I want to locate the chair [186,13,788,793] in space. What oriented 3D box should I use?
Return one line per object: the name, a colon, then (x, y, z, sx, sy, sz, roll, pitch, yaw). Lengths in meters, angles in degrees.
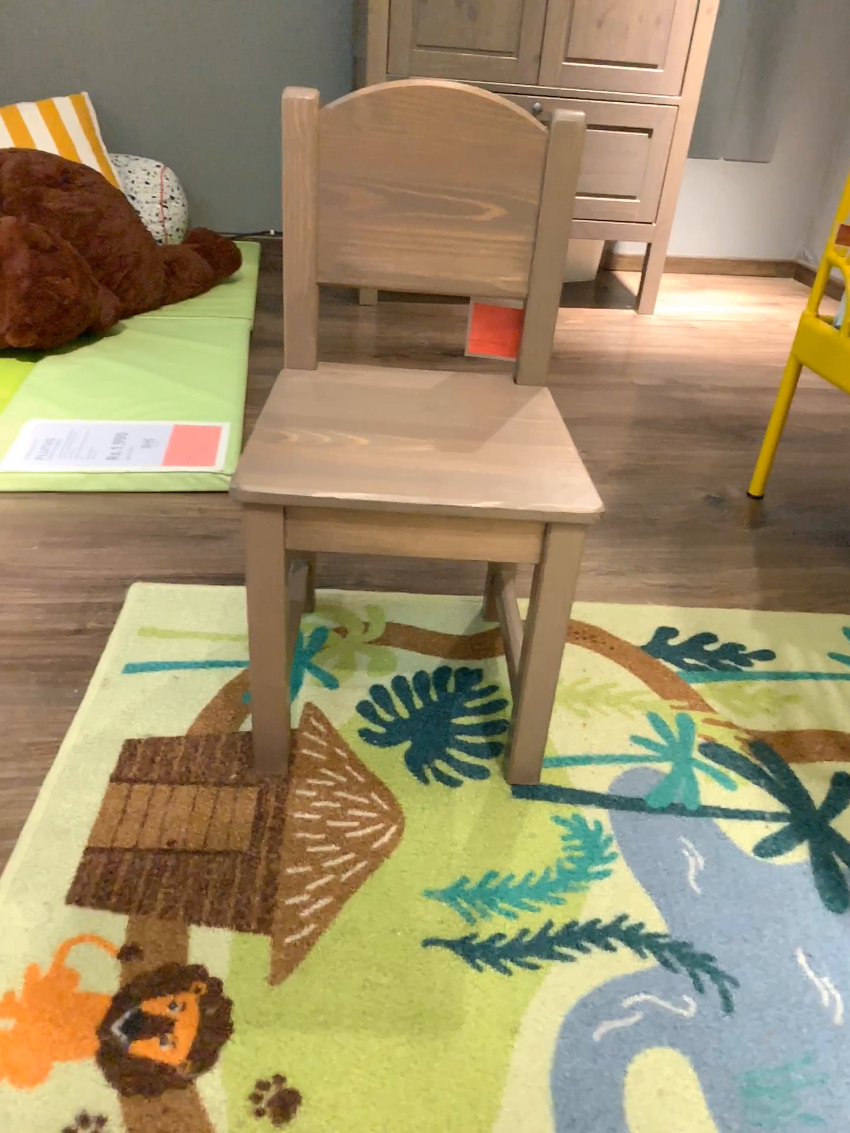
chair: (0.016, -0.129, 0.678, 0.290, 0.488, 0.331, 4, 31, -1)
